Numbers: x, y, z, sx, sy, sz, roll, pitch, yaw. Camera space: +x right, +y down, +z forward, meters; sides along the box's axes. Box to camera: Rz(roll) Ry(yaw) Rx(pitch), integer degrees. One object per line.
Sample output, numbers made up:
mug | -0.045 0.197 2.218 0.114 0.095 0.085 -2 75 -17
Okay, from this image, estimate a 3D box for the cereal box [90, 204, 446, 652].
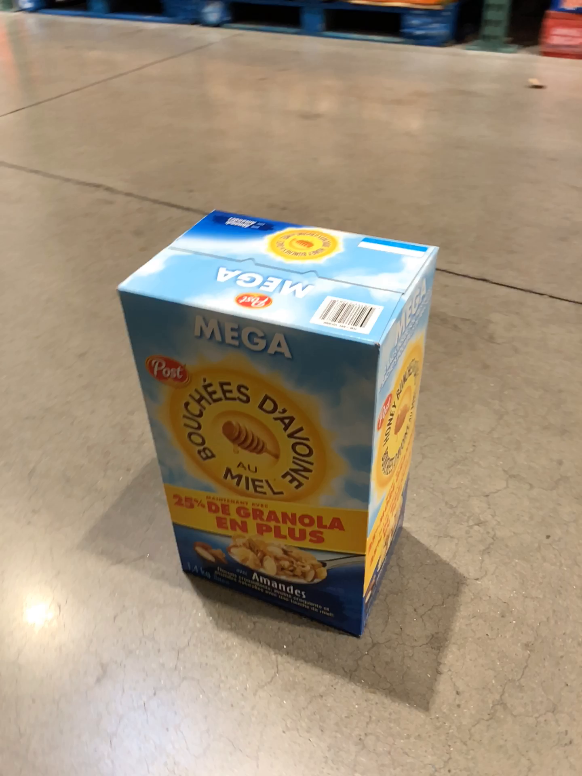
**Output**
cereal box | -0.005 0.040 0.562 0.210 0.329 0.150 14 42 20
